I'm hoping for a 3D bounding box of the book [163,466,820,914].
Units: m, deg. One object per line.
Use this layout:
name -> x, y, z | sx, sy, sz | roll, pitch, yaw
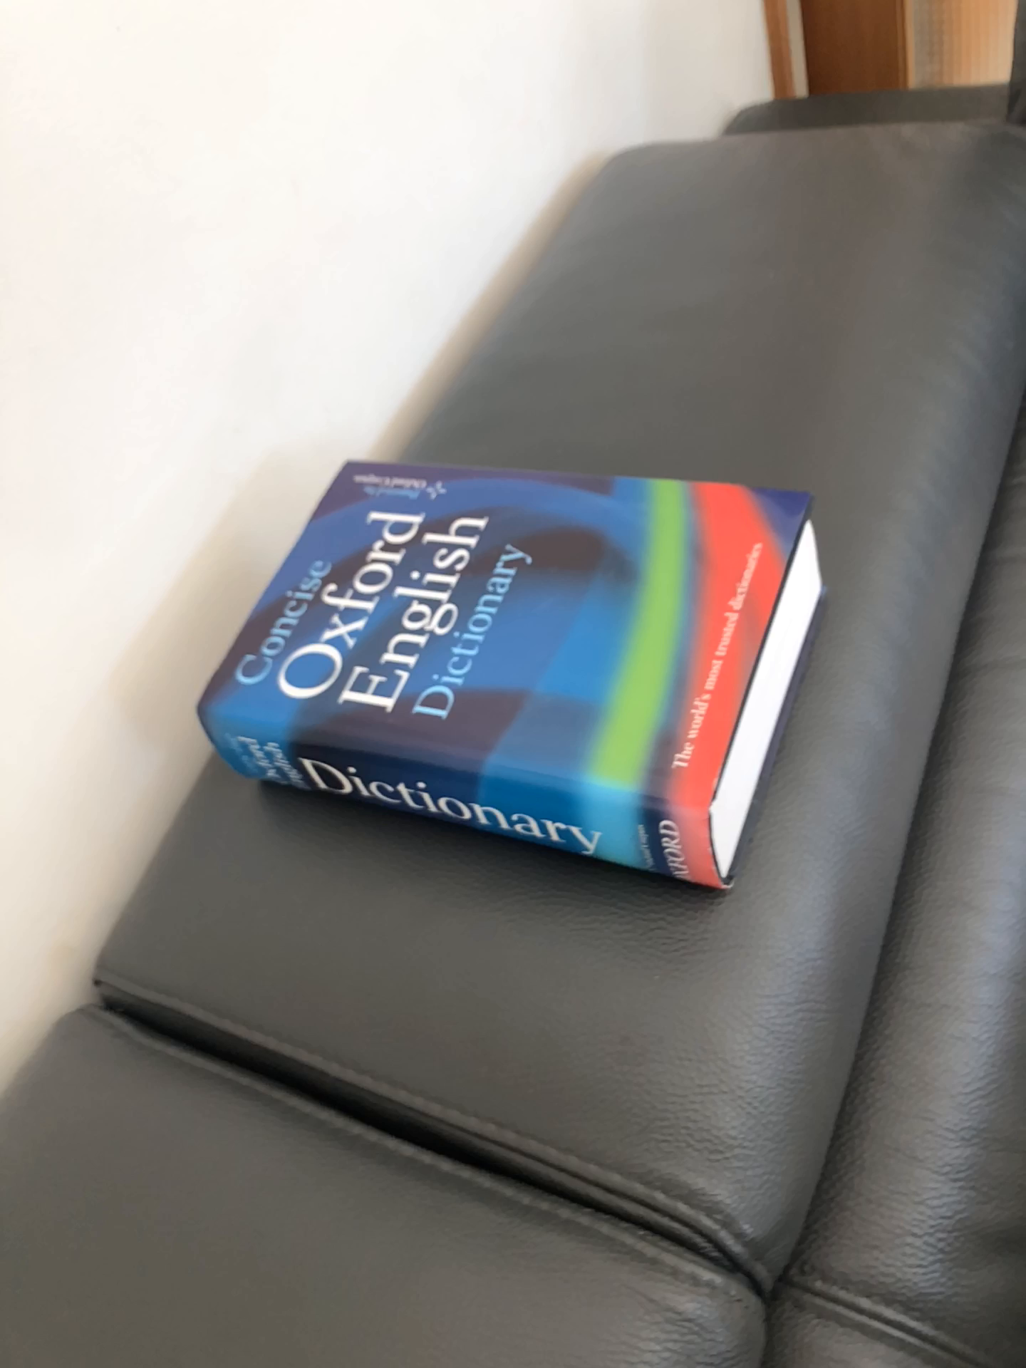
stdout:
book -> -0.006, -0.011, 0.526 | 0.250, 0.070, 0.171 | 7, 56, 26
